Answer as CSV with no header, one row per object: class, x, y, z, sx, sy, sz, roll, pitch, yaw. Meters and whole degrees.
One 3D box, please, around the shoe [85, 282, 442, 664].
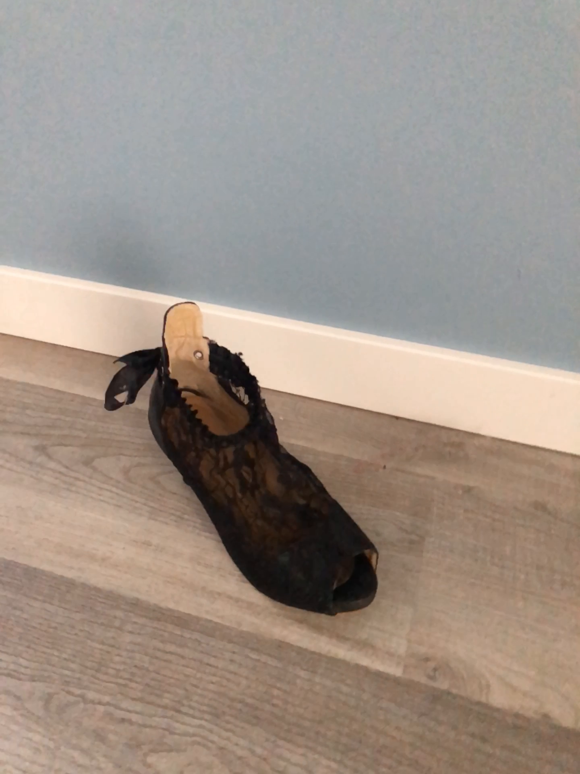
shoe,-0.026,0.049,0.445,0.100,0.140,0.221,-33,52,-31
